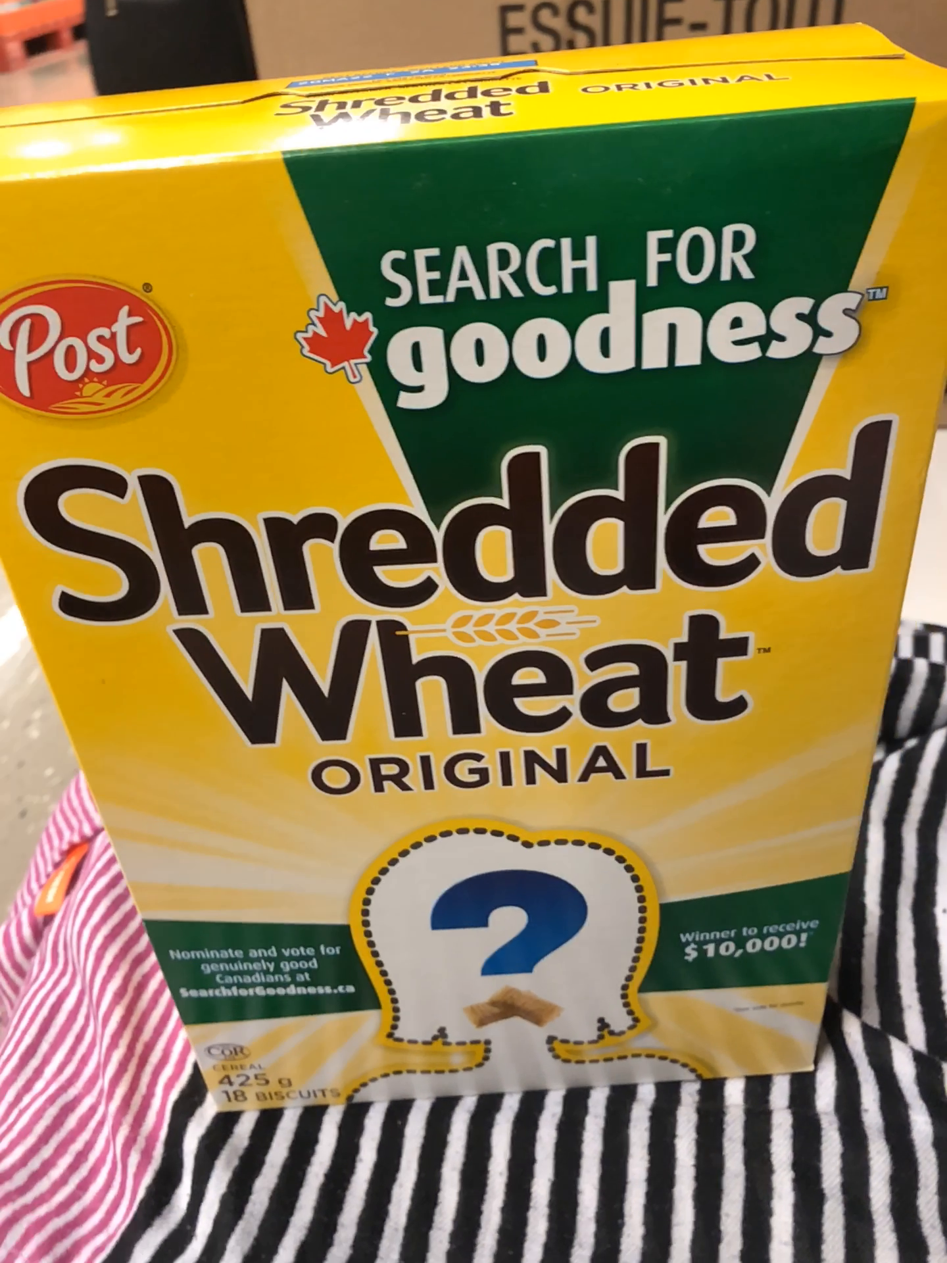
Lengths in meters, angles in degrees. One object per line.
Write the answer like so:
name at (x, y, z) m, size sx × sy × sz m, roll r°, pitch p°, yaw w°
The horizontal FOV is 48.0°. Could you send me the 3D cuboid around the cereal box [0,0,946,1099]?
cereal box at (-0.004, -0.002, 0.271) m, size 0.210 × 0.269 × 0.080 m, roll -5°, pitch 35°, yaw 1°
